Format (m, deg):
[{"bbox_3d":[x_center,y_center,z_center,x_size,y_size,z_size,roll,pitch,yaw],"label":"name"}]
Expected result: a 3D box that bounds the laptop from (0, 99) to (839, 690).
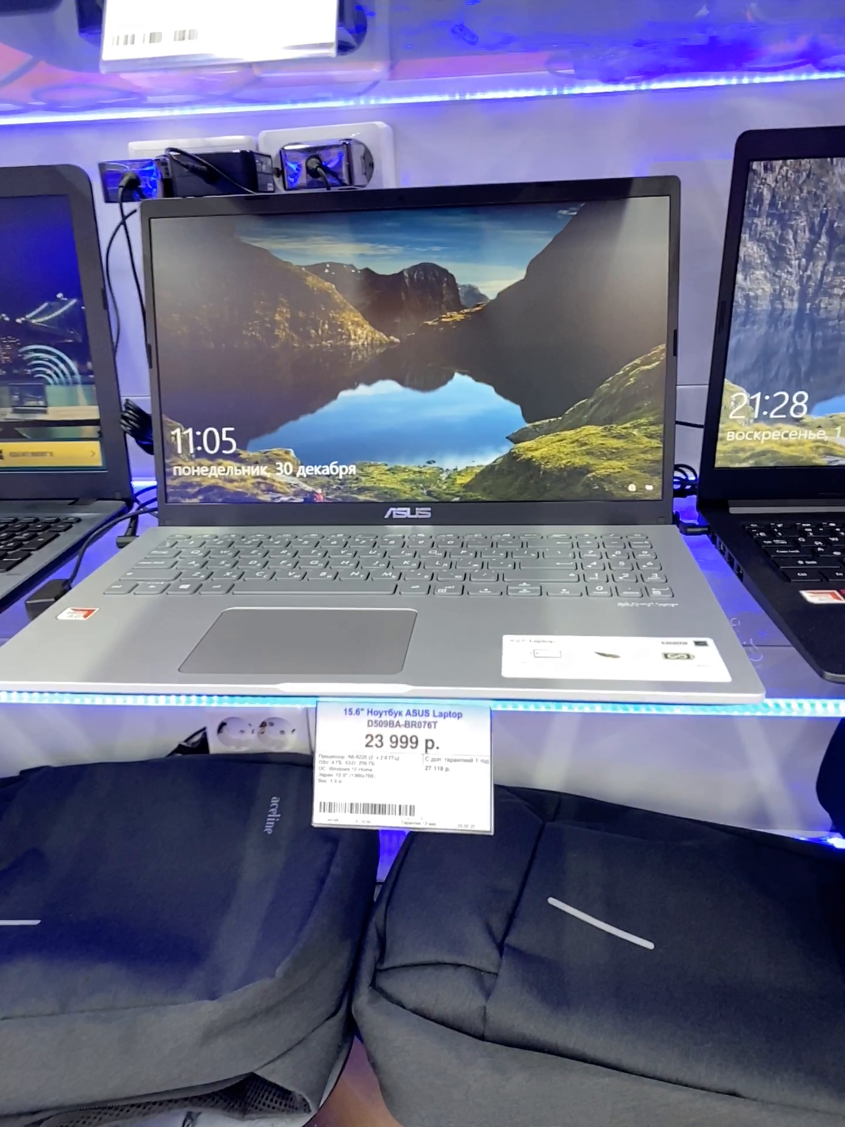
[{"bbox_3d":[-0.023,-0.097,0.473,0.360,0.216,0.286,0,19,7],"label":"laptop"}]
